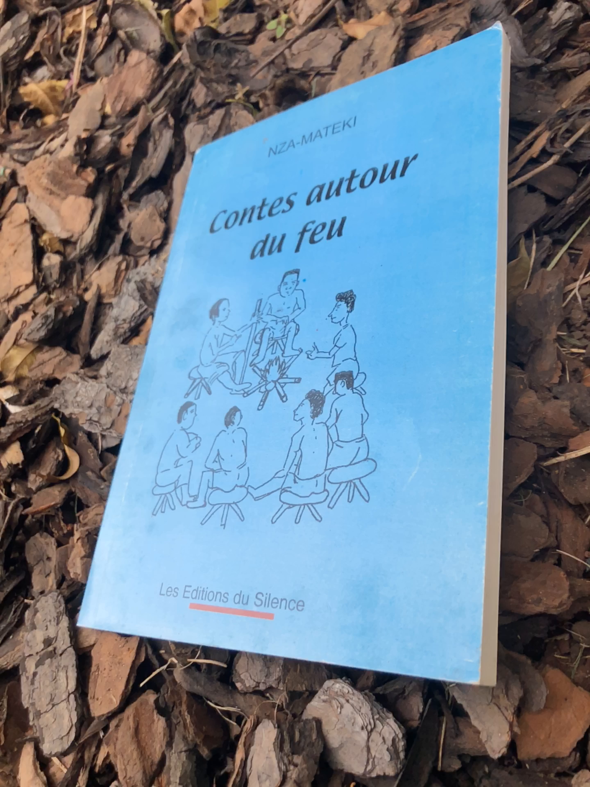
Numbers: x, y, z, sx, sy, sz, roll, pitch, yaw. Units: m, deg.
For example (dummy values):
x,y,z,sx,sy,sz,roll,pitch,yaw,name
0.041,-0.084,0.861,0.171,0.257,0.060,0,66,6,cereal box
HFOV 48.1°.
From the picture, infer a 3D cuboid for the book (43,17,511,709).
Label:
x,y,z,sx,sy,sz,roll,pitch,yaw,name
-0.005,-0.018,0.220,0.144,0.015,0.202,-7,63,34,book
